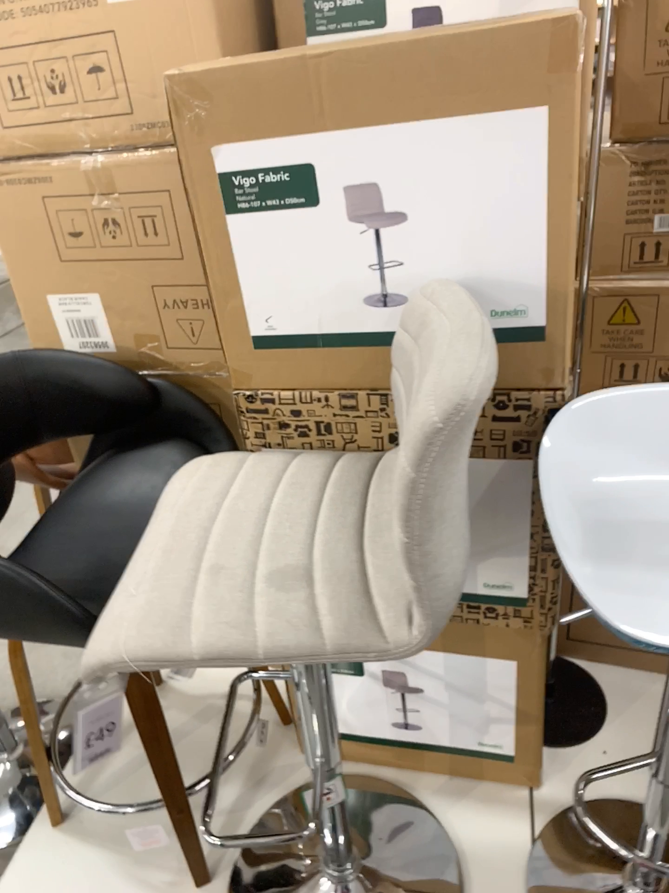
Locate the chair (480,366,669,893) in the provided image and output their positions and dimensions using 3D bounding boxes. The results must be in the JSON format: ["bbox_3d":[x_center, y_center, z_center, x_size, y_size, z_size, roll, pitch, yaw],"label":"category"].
[{"bbox_3d":[0.403,0.364,0.884,0.404,0.826,0.391,-1,30,10],"label":"chair"}]

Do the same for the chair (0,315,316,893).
[{"bbox_3d":[-0.385,0.272,1.249,0.488,0.865,0.539,2,31,15],"label":"chair"}]

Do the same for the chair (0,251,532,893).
[{"bbox_3d":[-0.037,0.305,0.943,0.508,0.984,0.468,-1,30,10],"label":"chair"}]
